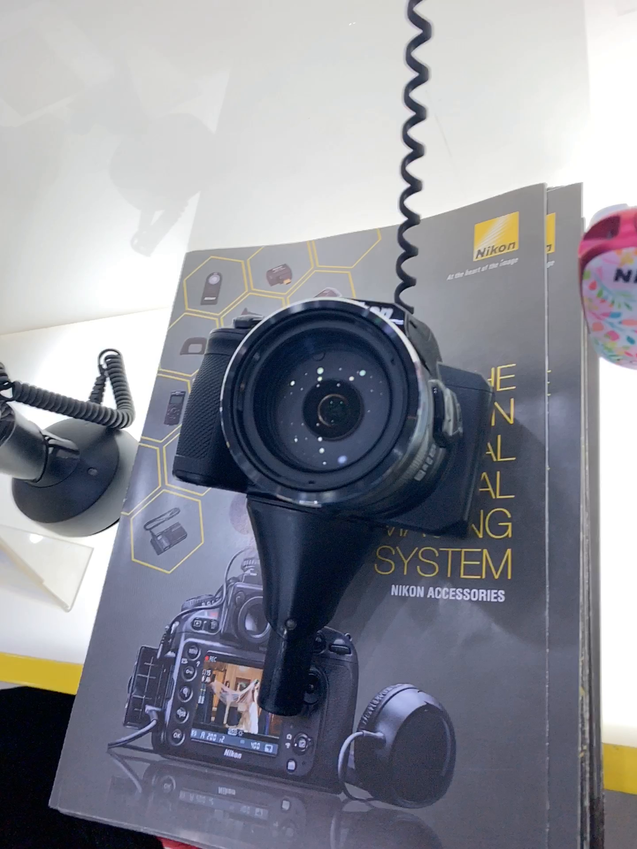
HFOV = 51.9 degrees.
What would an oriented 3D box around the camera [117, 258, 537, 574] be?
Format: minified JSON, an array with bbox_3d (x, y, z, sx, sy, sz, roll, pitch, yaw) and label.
[{"bbox_3d":[0.005,-0.004,0.249,0.120,0.080,0.090,10,84,31],"label":"camera"}]
